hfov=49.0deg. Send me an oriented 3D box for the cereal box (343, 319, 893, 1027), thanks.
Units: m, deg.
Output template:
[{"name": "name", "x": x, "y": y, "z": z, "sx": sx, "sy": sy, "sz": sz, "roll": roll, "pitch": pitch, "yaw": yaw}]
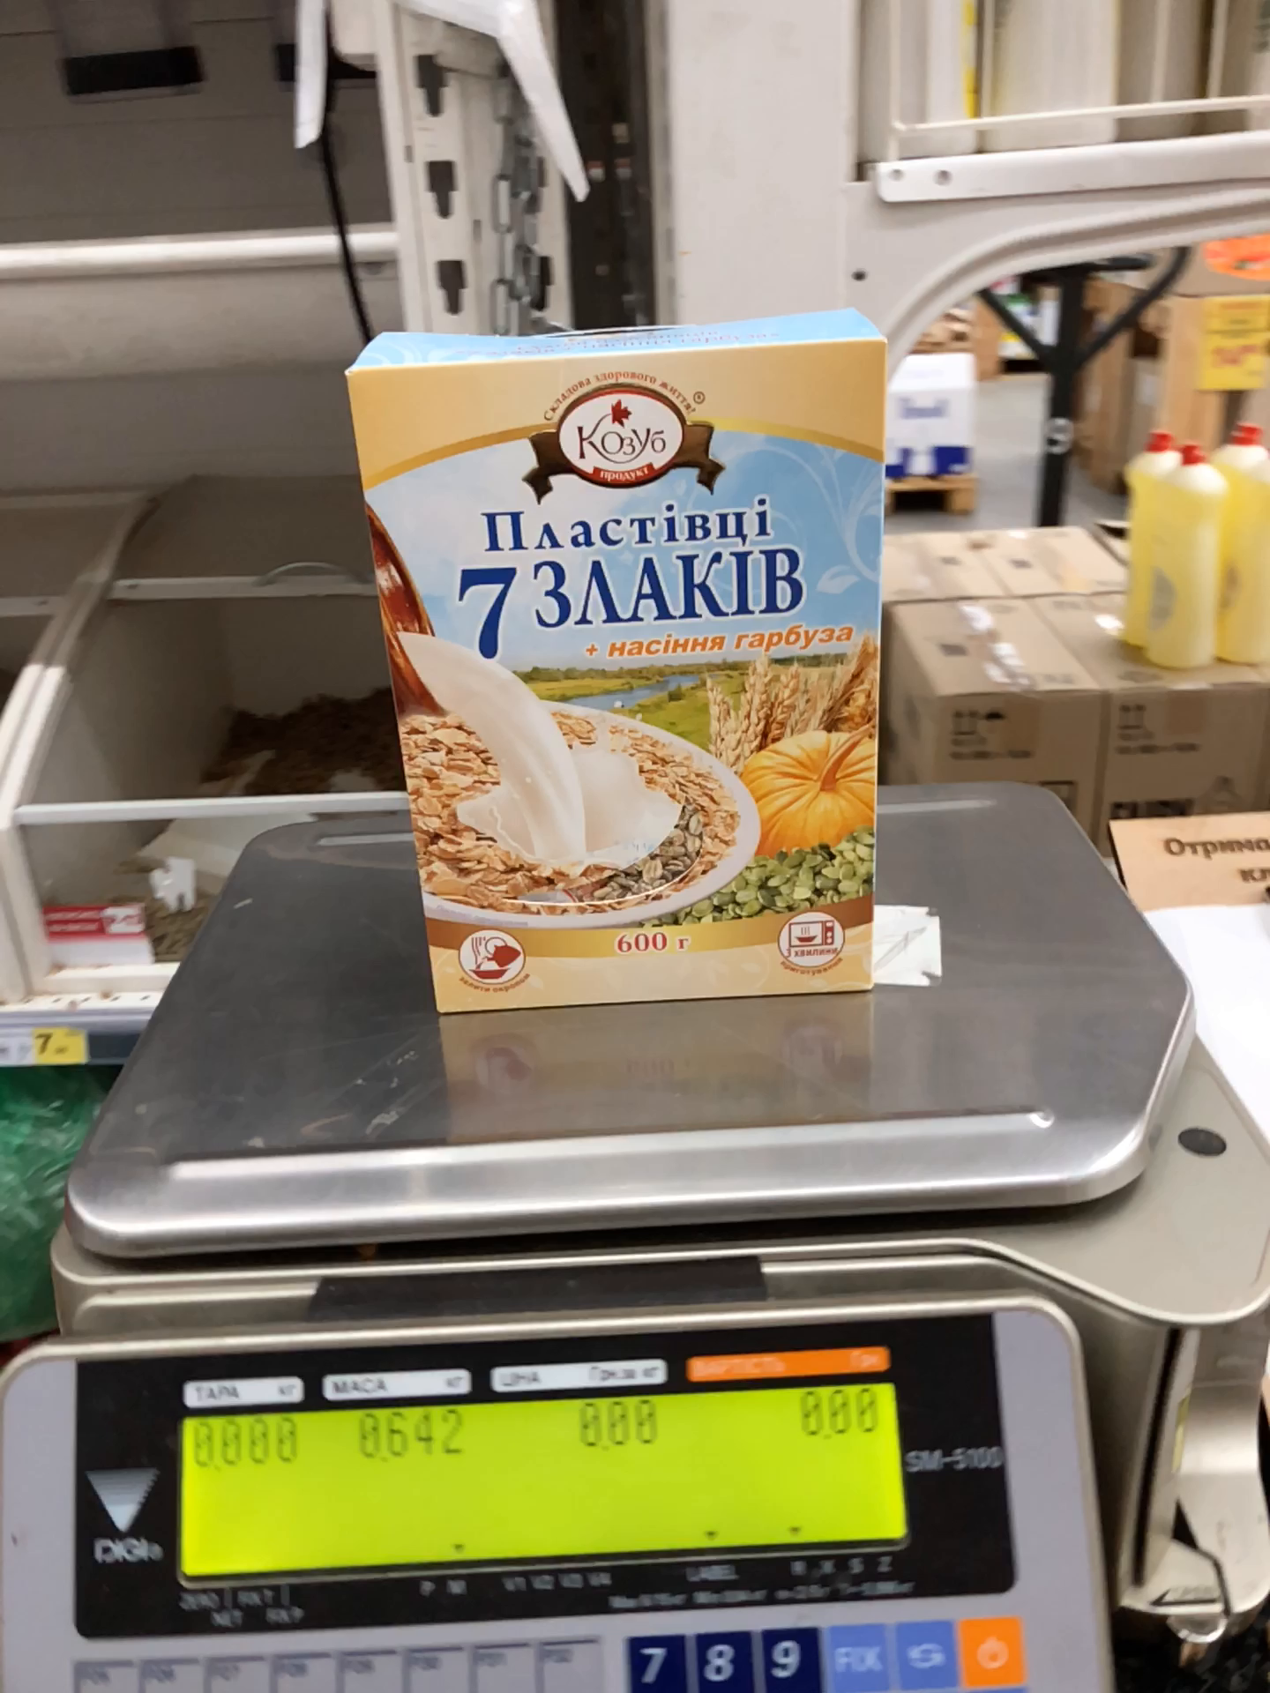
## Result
[{"name": "cereal box", "x": -0.001, "y": -0.054, "z": 0.482, "sx": 0.160, "sy": 0.228, "sz": 0.060, "roll": -2, "pitch": 26, "yaw": 1}]
